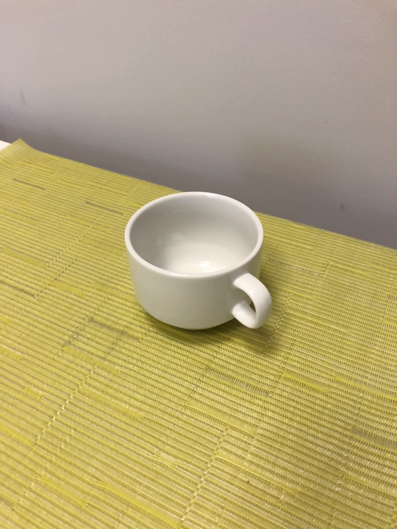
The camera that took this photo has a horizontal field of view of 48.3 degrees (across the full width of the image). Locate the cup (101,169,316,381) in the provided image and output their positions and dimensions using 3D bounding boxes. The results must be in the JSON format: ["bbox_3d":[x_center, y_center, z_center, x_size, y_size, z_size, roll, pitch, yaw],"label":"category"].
[{"bbox_3d":[0.001,-0.001,0.282,0.086,0.057,0.111,-19,44,-20],"label":"cup"}]
